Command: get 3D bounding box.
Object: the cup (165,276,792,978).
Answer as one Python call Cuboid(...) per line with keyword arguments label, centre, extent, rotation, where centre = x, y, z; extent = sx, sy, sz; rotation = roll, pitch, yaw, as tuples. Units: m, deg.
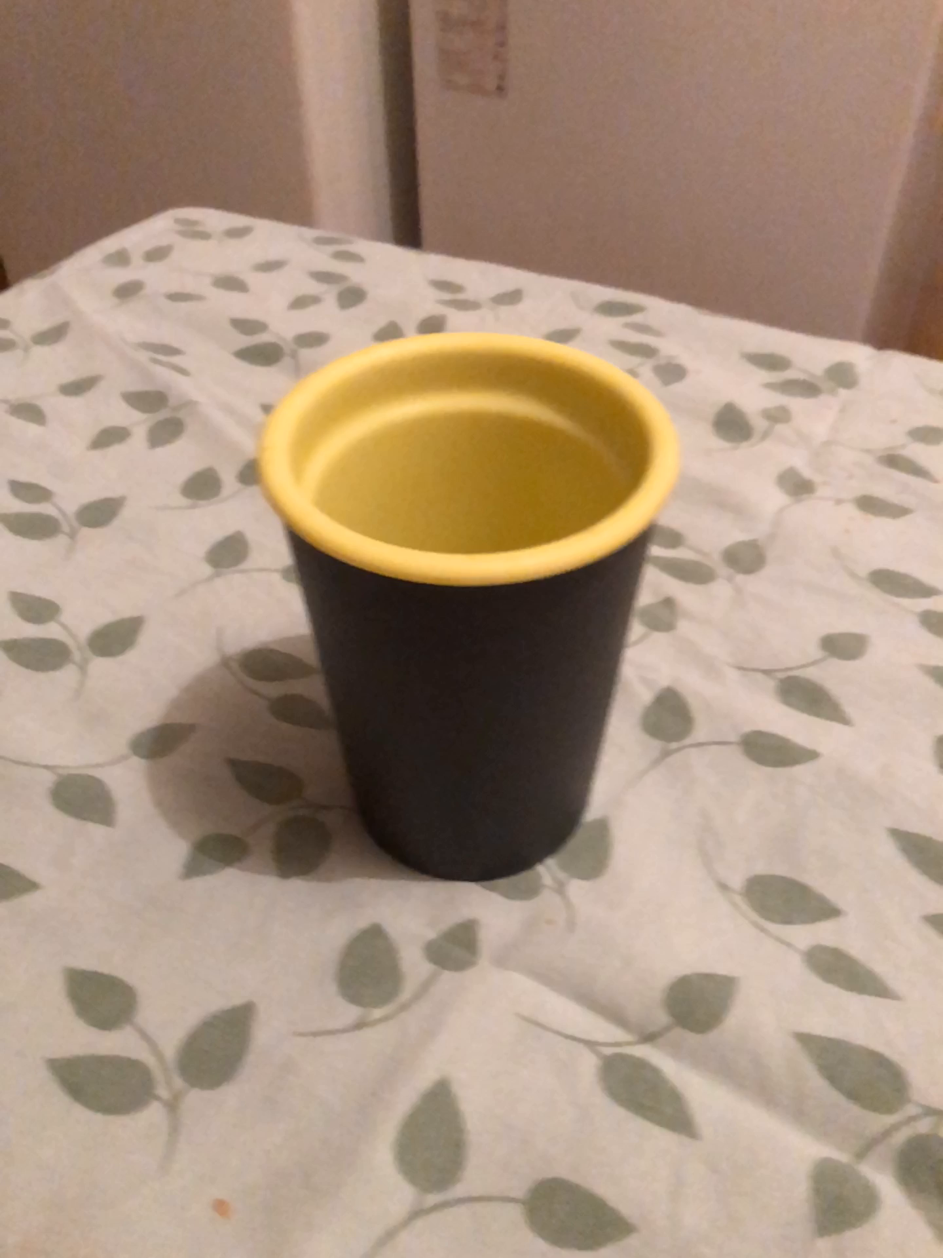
Cuboid(label="cup", centre=(0.001, -0.004, 0.250), extent=(0.090, 0.109, 0.090), rotation=(0, 43, 0))
